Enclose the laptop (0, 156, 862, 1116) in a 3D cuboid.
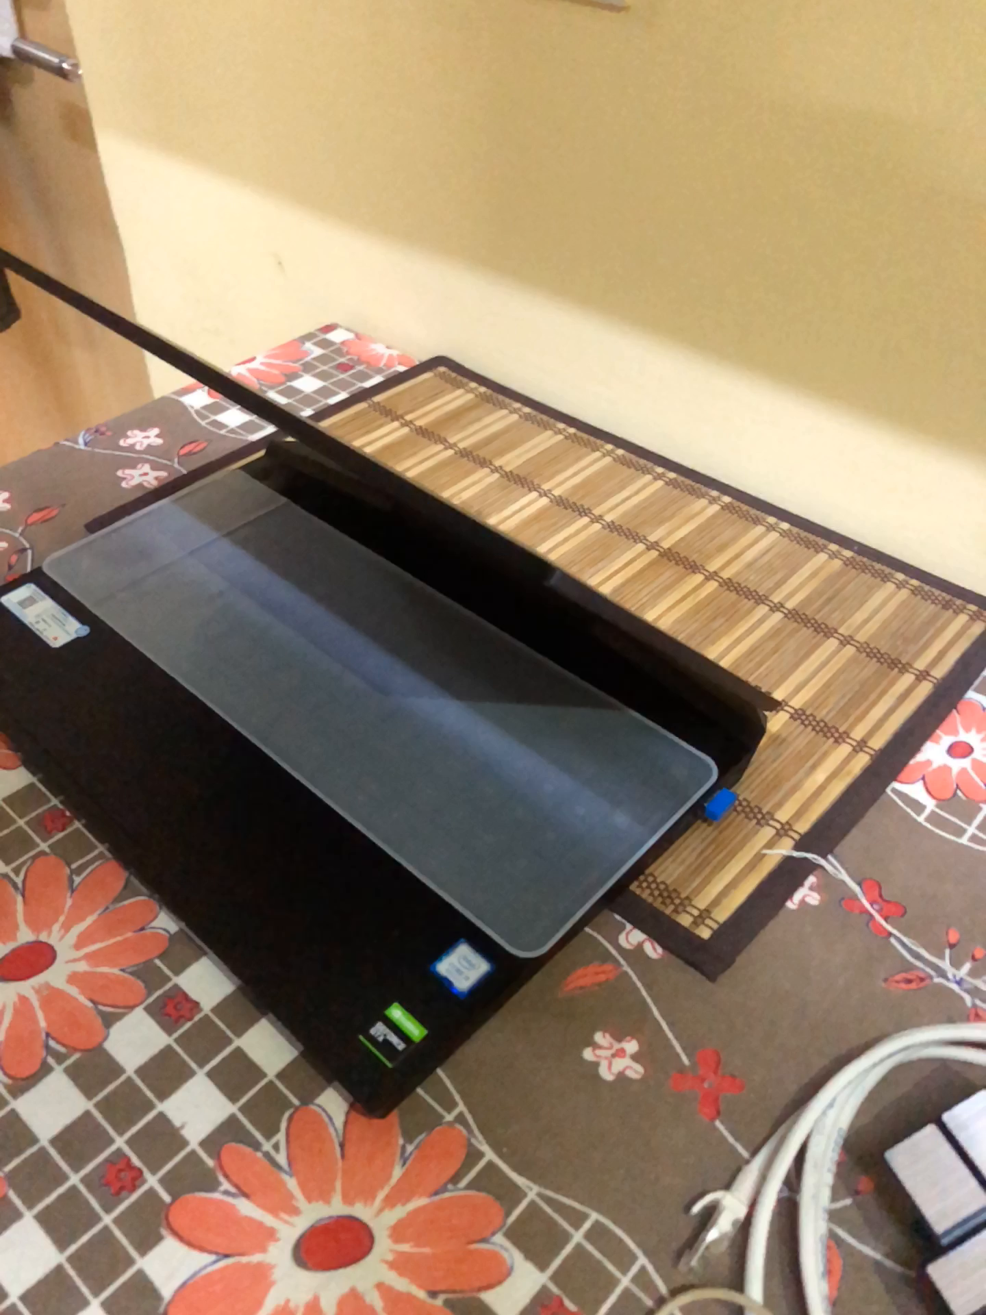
[{"bbox_3d":[-0.082,-0.053,0.463,0.356,0.164,0.237,32,55,33],"label":"laptop"}]
